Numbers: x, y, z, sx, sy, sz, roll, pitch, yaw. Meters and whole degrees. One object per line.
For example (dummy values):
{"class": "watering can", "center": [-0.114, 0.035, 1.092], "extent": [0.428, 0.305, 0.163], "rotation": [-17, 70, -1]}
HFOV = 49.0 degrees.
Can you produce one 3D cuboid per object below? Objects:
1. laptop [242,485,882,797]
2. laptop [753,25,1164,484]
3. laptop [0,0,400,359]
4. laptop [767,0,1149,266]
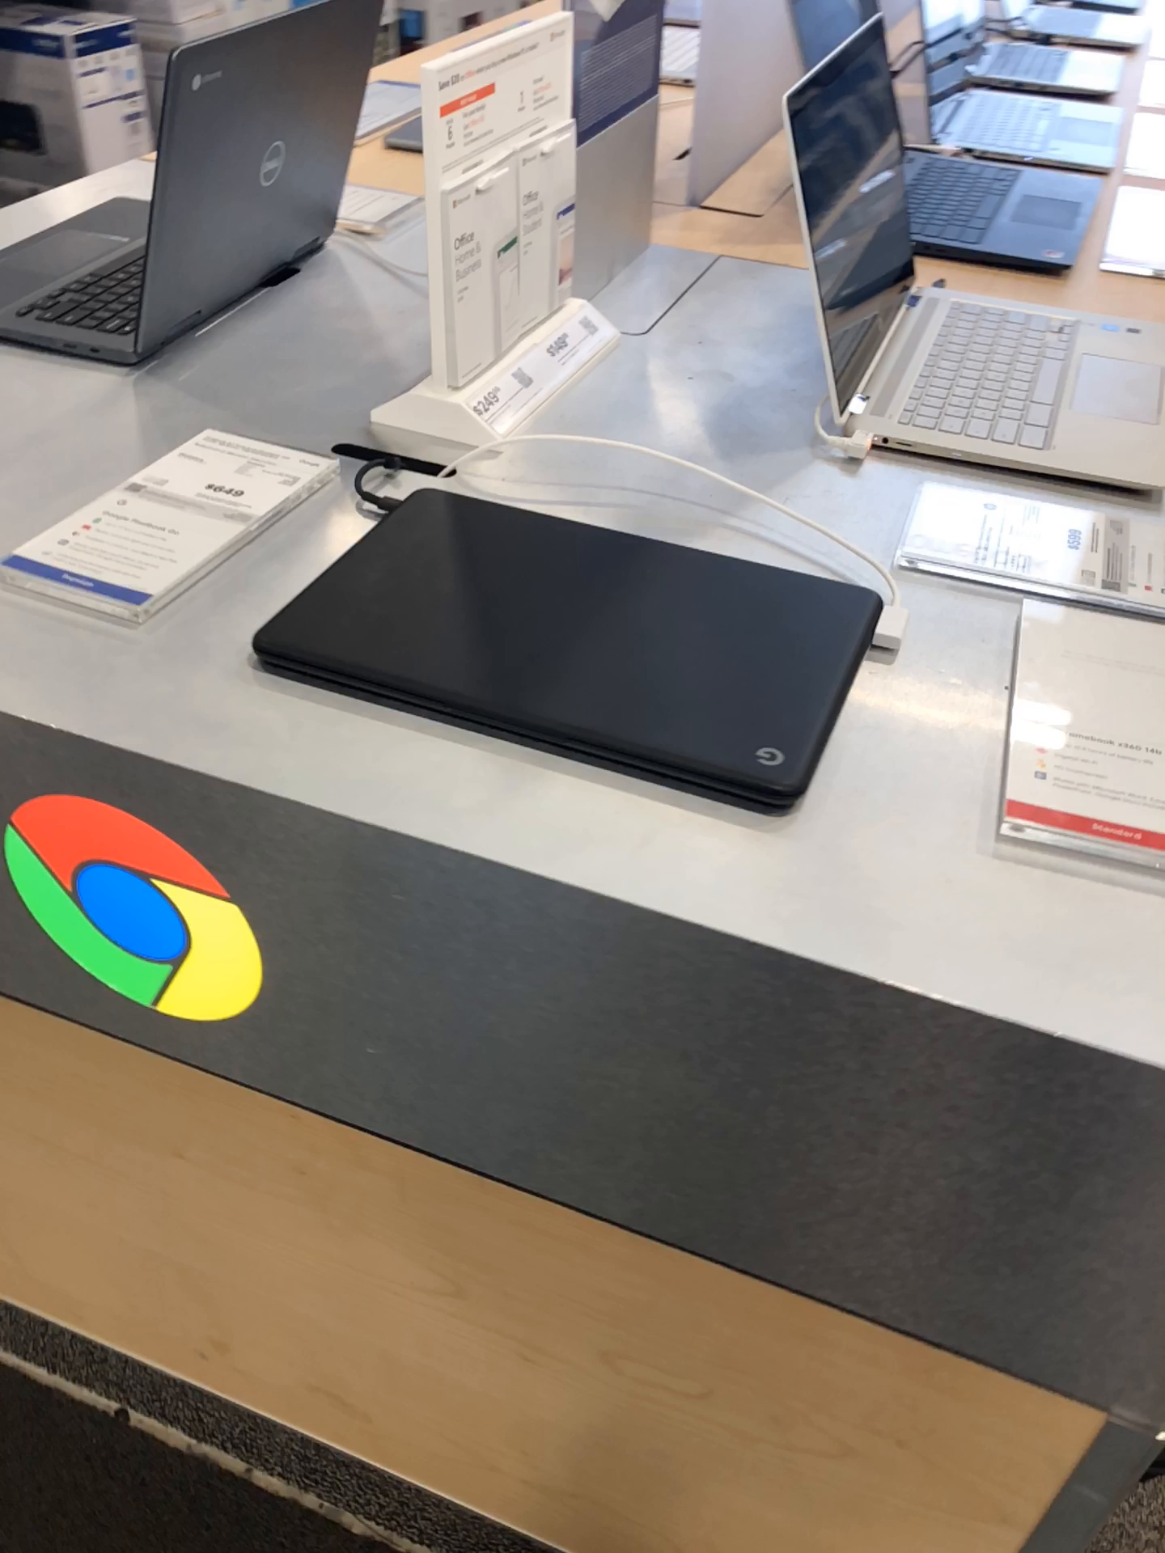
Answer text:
{"class": "laptop", "center": [-0.002, -0.087, 0.697], "extent": [0.296, 0.001, 0.195], "rotation": [16, 41, 14]}
{"class": "laptop", "center": [0.310, -0.395, 0.932], "extent": [0.274, 0.206, 0.304], "rotation": [14, 41, 15]}
{"class": "laptop", "center": [-0.352, -0.505, 1.013], "extent": [0.292, 0.196, 0.300], "rotation": [14, 42, 13]}
{"class": "laptop", "center": [0.378, -0.676, 1.279], "extent": [0.287, 0.189, 0.307], "rotation": [15, 42, 15]}
